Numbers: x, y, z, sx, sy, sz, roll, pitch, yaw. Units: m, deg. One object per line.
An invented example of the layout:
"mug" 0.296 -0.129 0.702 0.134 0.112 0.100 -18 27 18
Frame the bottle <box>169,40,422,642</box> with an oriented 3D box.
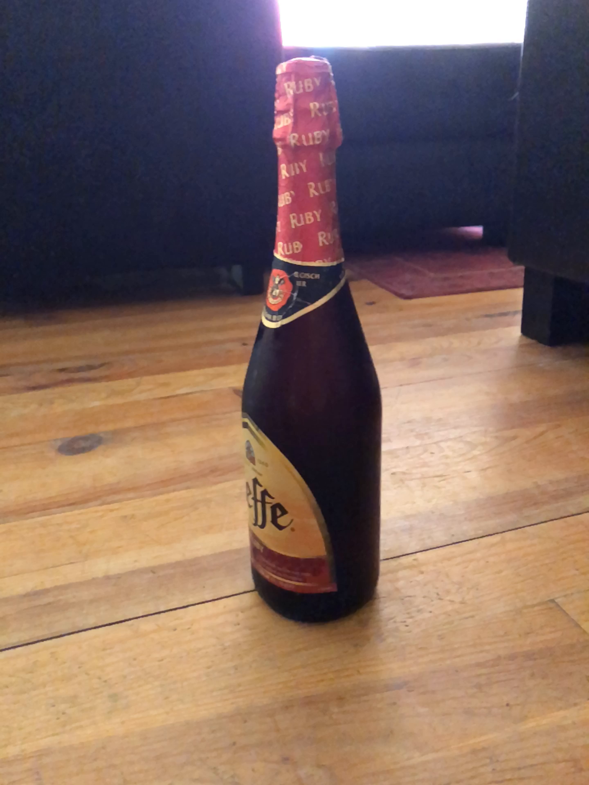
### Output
"bottle" 0.002 -0.022 0.352 0.090 0.289 0.090 -2 22 1
